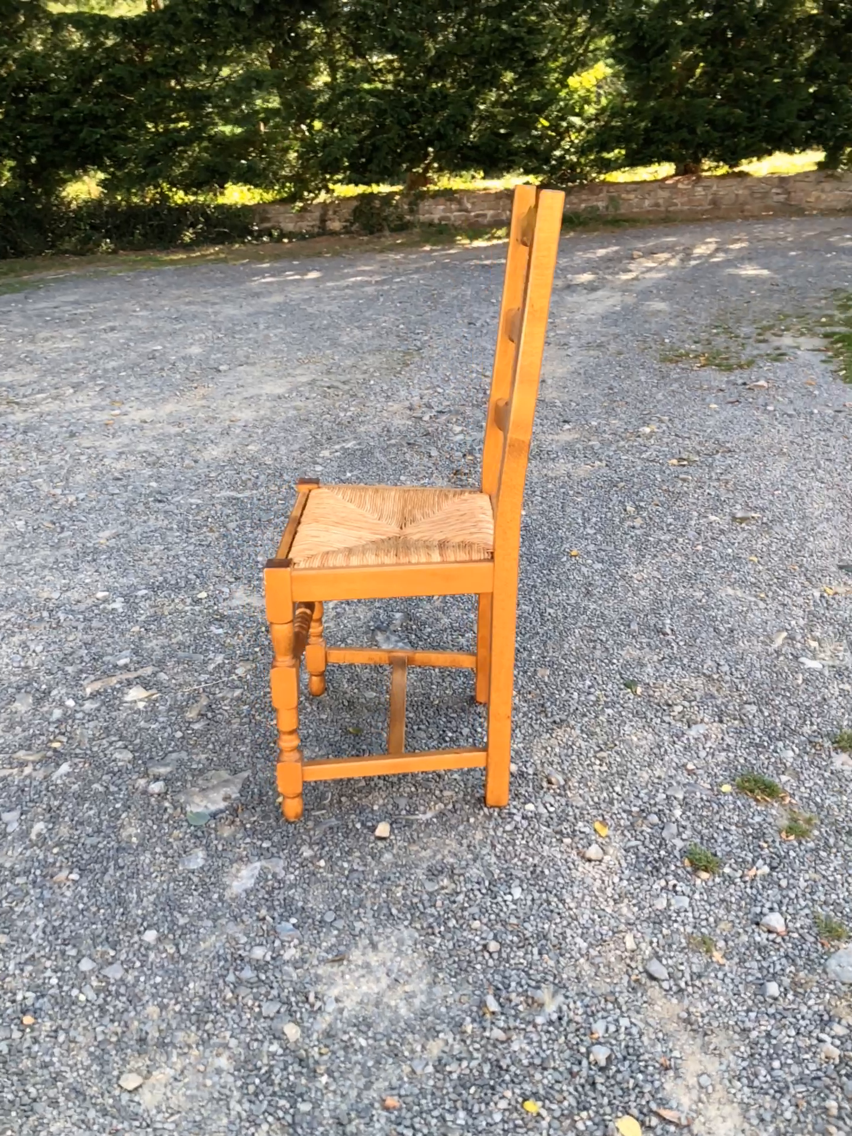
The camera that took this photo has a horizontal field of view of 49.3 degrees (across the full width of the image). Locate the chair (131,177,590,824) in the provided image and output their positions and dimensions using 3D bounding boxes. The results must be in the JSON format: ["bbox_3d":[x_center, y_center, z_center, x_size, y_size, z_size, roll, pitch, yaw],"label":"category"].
[{"bbox_3d":[-0.070,-0.131,1.472,0.520,0.885,0.533,-1,23,0],"label":"chair"}]
